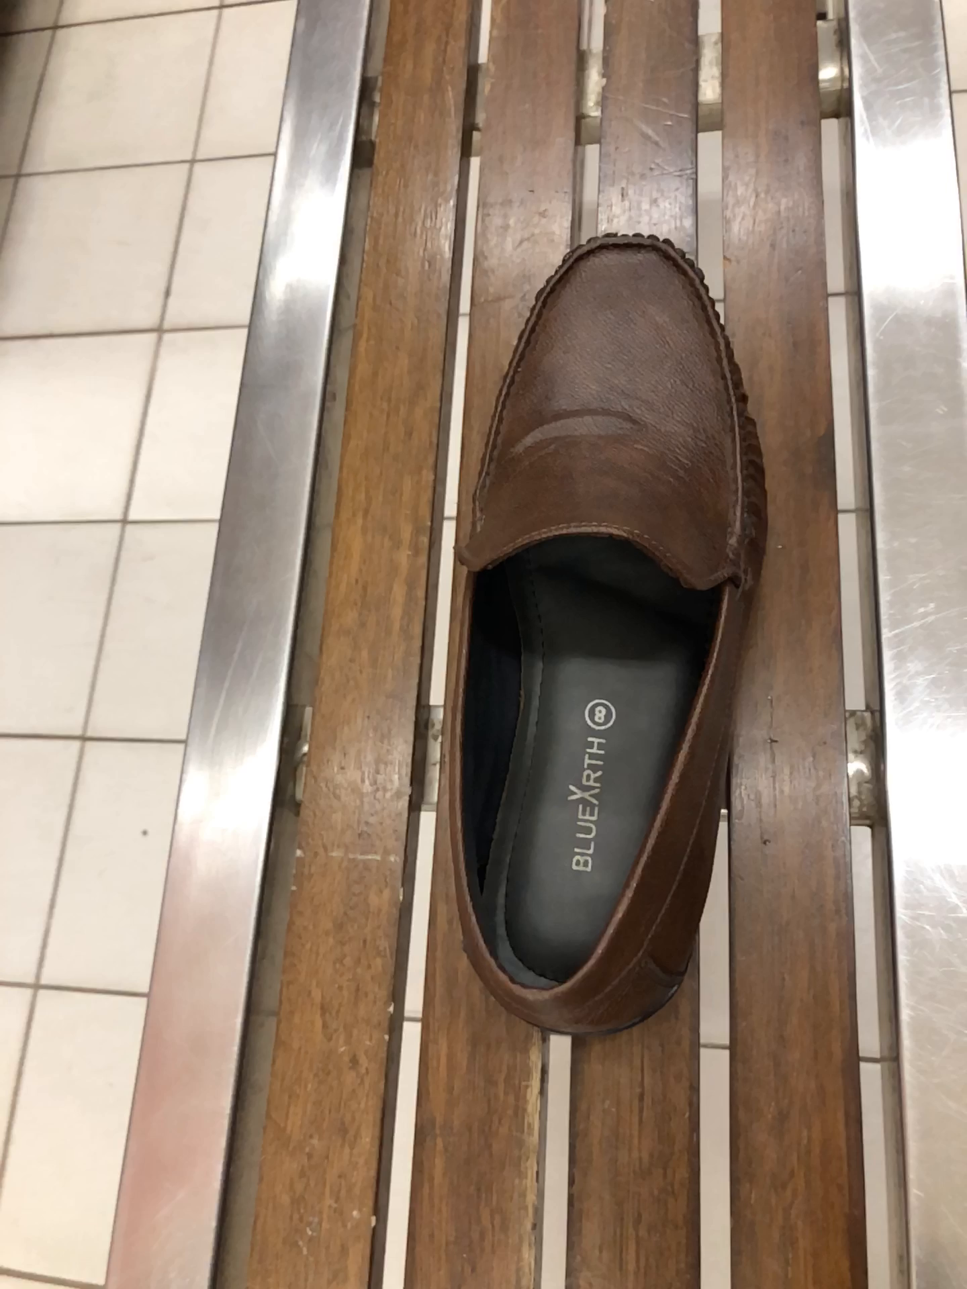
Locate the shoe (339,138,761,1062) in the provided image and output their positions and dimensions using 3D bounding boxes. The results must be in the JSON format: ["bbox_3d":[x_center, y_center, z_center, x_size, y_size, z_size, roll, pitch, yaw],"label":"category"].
[{"bbox_3d":[0.035,-0.020,0.358,0.090,0.090,0.281,5,73,14],"label":"shoe"}]
